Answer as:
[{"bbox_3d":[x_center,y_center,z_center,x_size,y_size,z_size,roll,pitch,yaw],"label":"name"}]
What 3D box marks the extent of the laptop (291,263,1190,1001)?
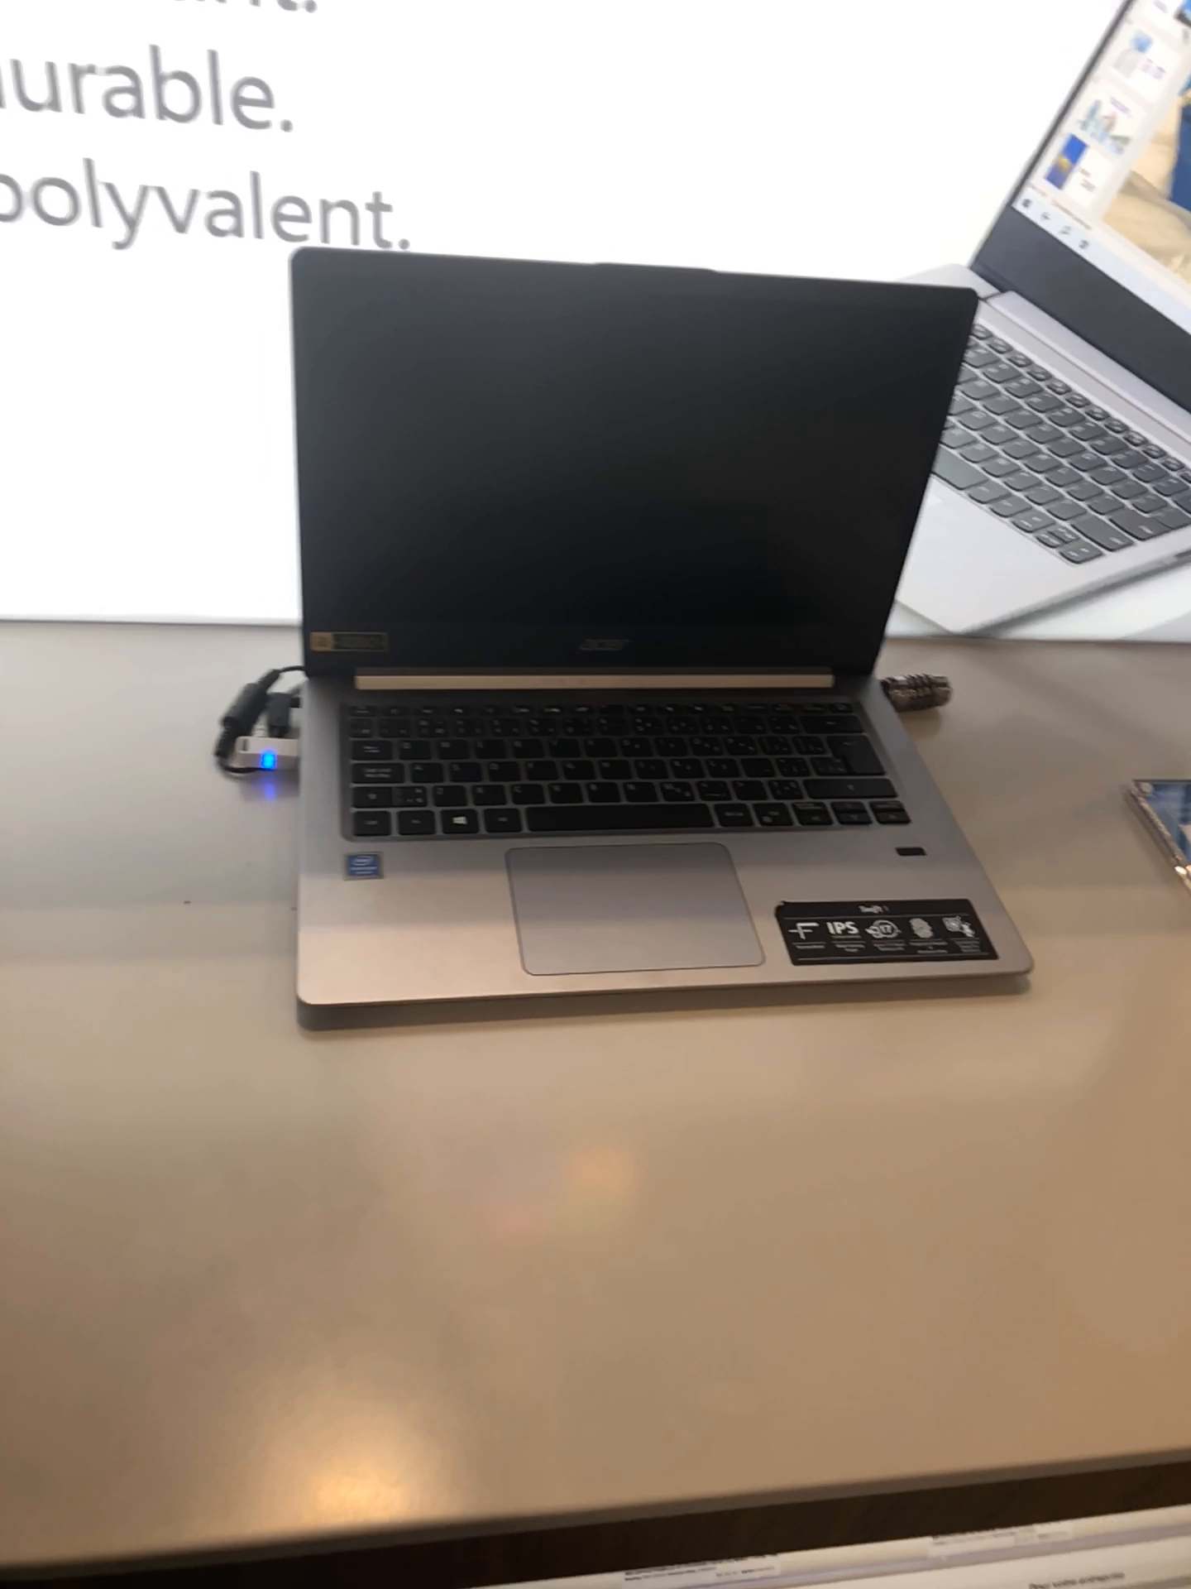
[{"bbox_3d":[0.033,-0.075,0.563,0.311,0.210,0.227,-1,39,-11],"label":"laptop"}]
